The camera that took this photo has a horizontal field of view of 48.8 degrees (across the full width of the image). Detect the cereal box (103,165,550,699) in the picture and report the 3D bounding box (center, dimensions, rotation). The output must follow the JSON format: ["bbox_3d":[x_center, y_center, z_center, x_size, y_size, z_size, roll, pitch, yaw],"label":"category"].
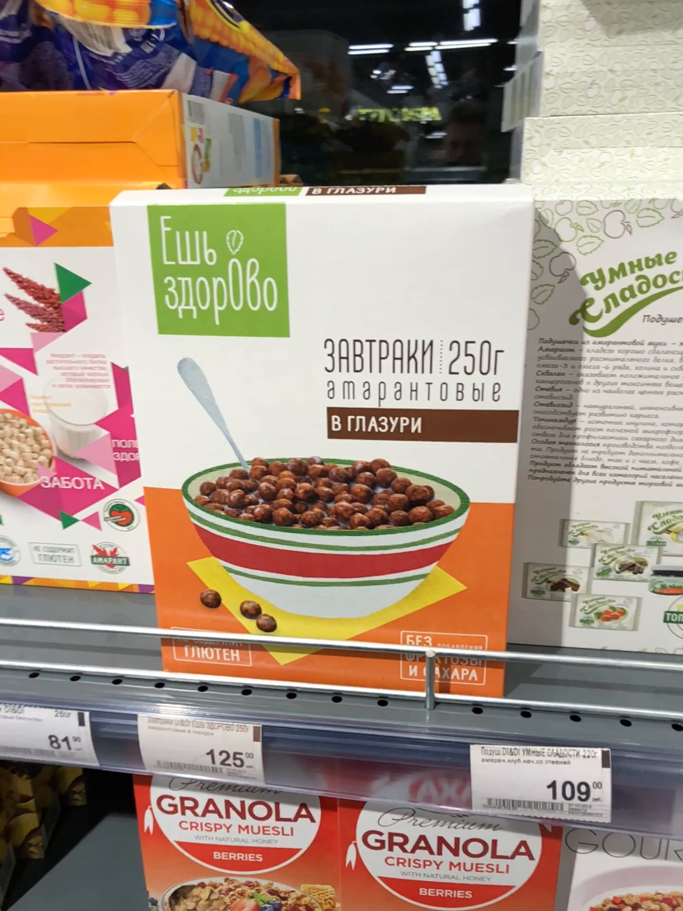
[{"bbox_3d":[-0.004,-0.007,0.383,0.190,0.259,0.050,2,20,8],"label":"cereal box"}]
